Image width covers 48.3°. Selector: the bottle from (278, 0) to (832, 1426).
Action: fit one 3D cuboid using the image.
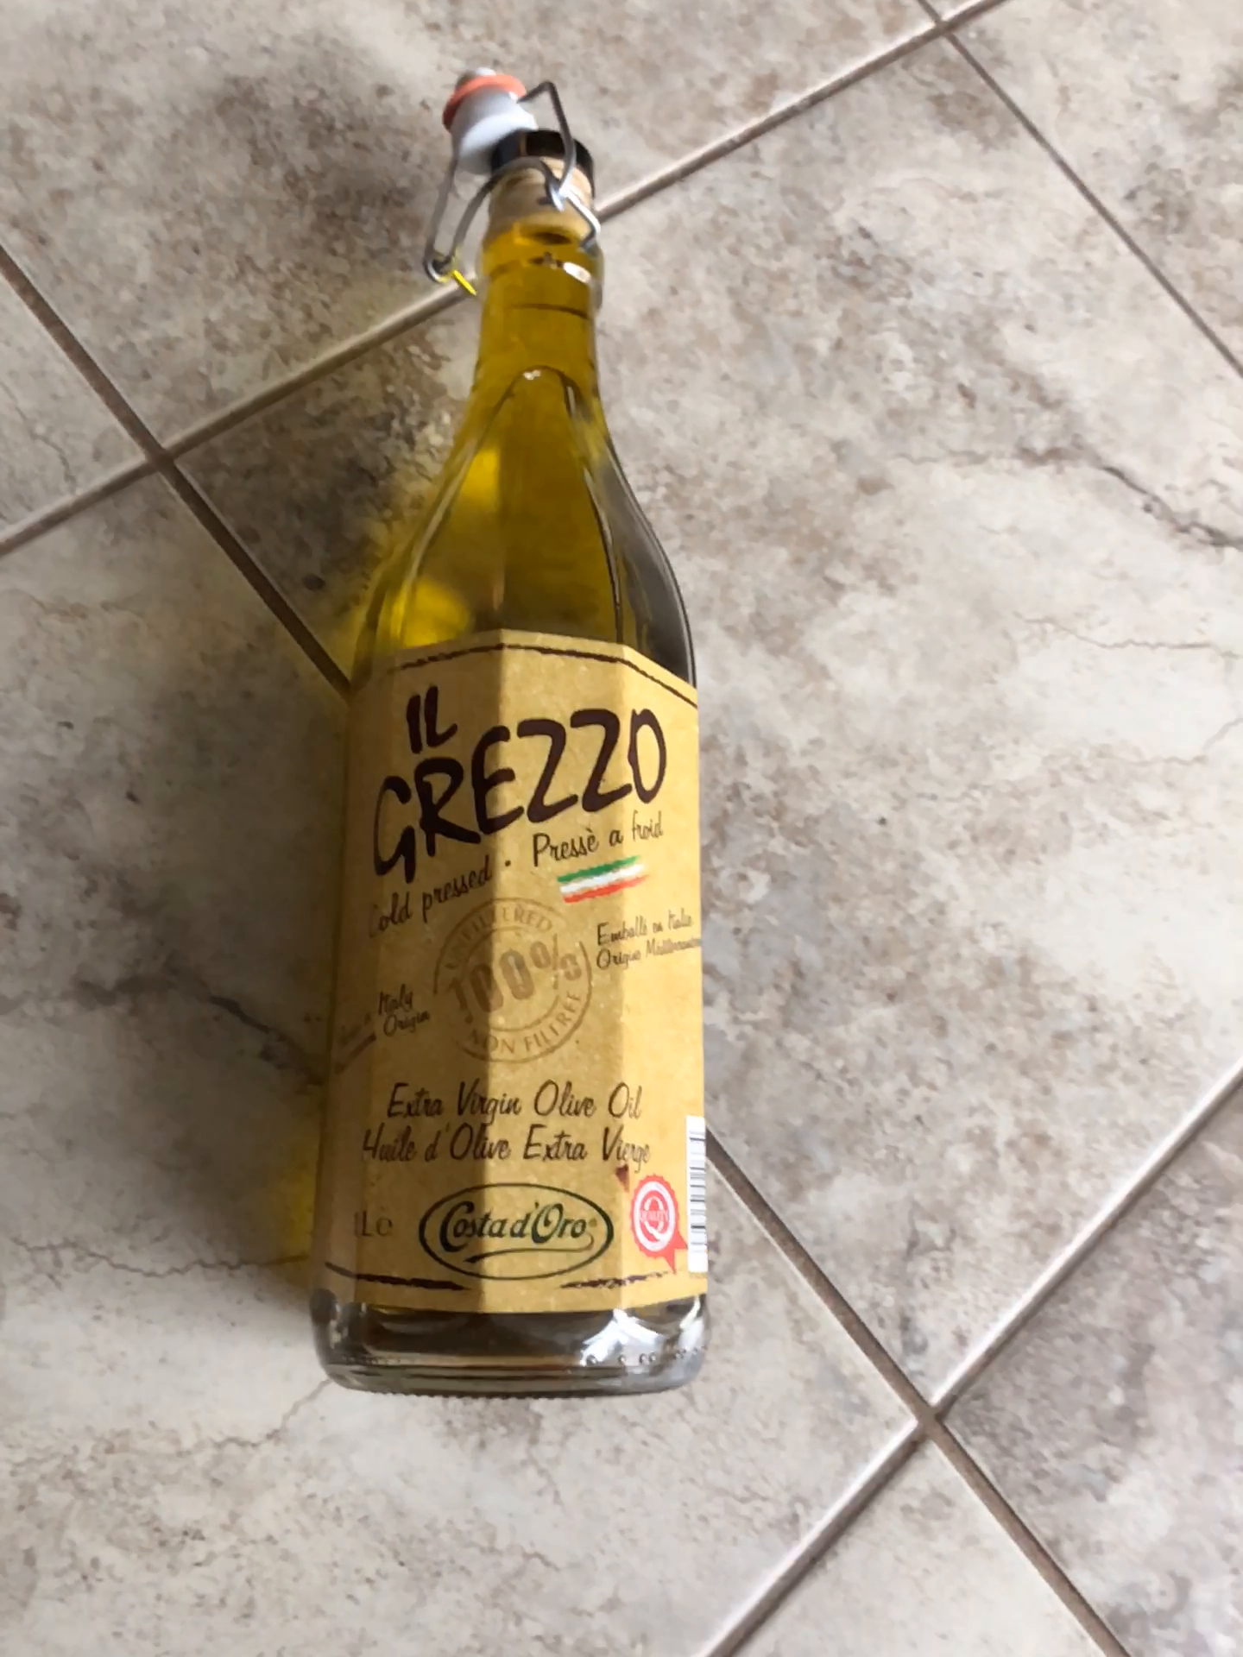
[{"bbox_3d":[-0.020,-0.055,0.328,0.090,0.100,0.350,5,72,-14],"label":"bottle"}]
